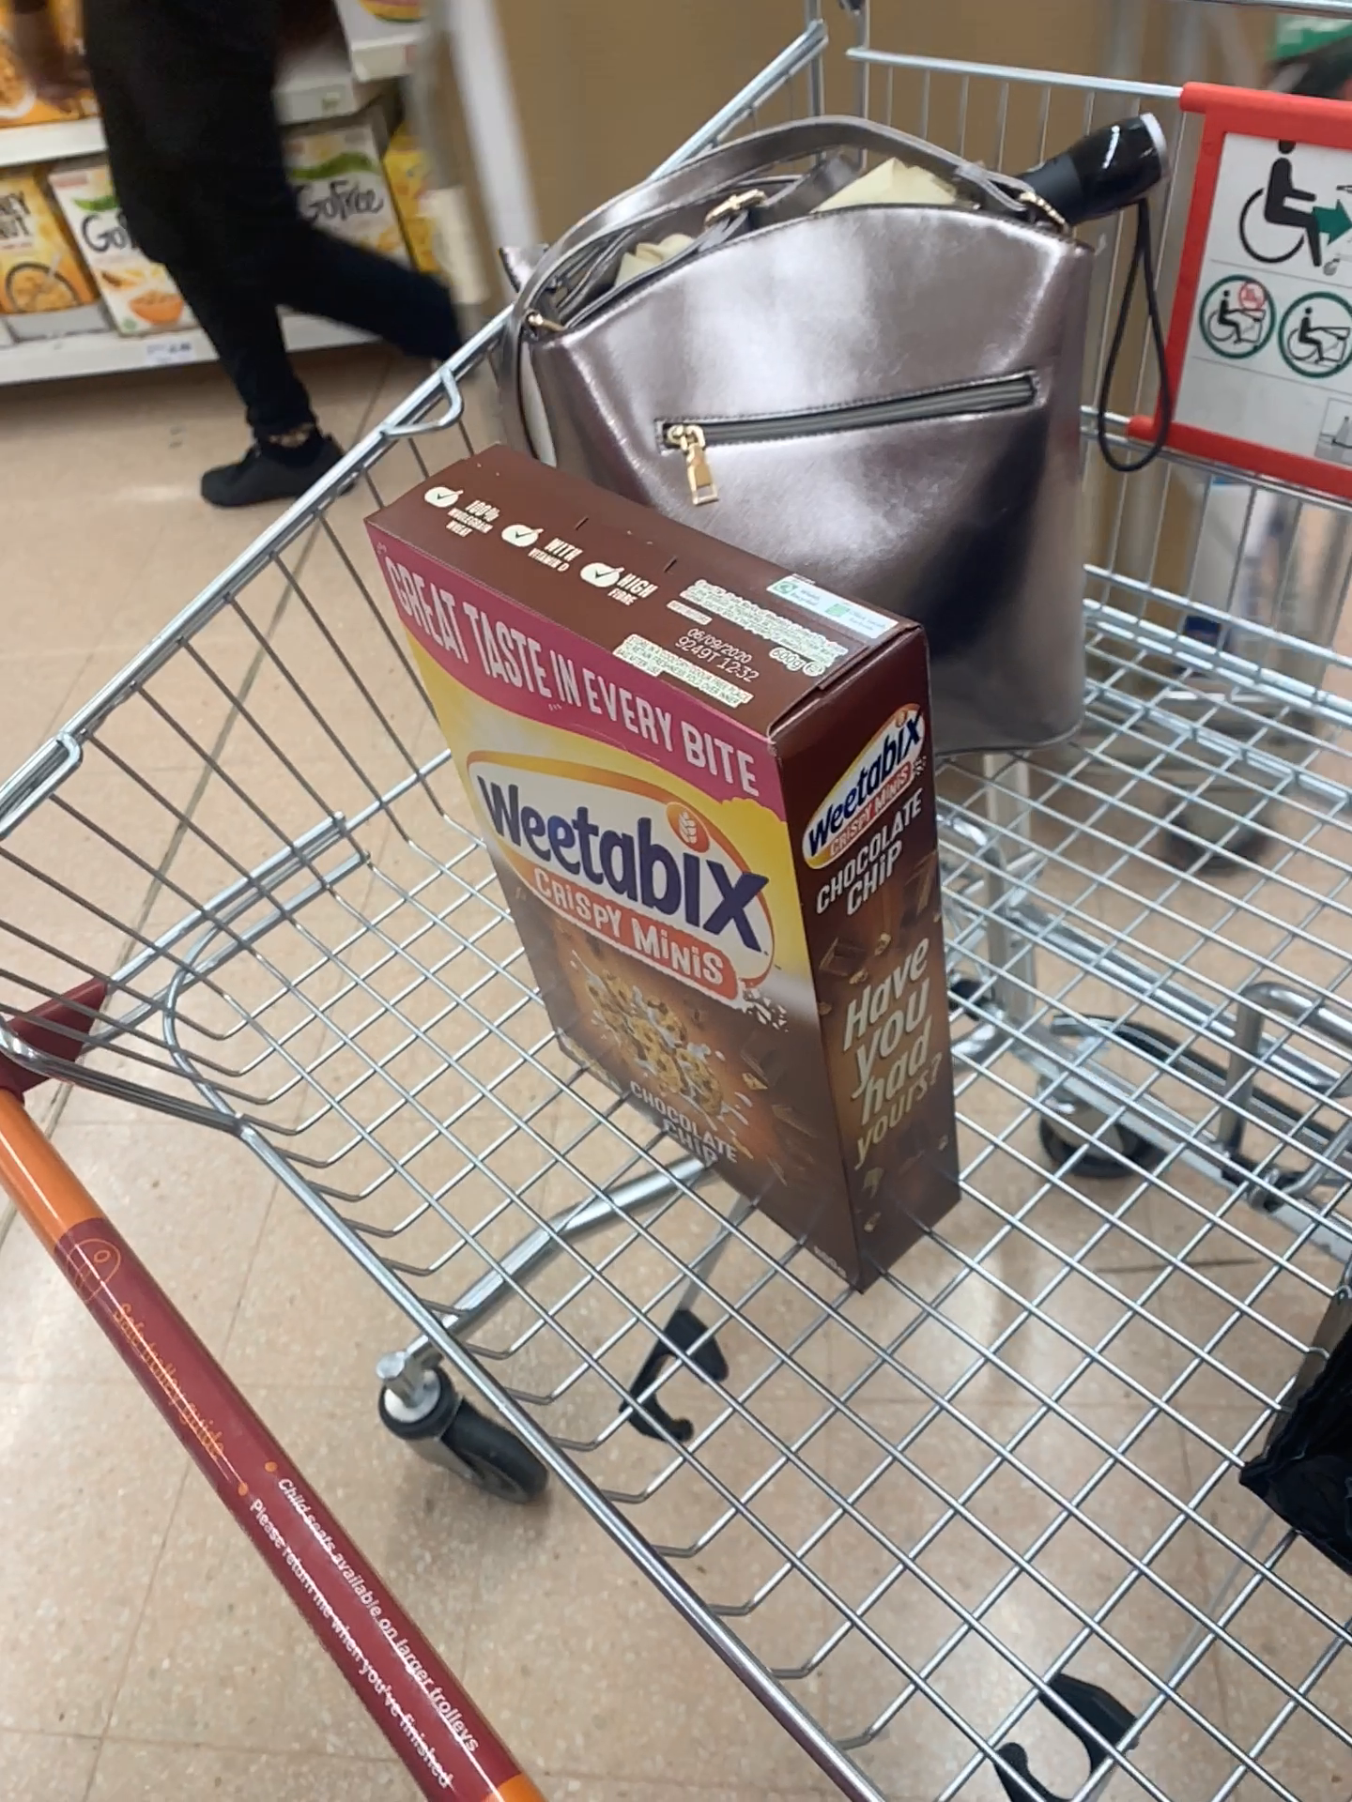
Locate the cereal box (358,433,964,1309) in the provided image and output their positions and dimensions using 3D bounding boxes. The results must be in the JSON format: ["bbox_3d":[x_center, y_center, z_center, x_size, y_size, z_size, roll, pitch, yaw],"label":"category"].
[{"bbox_3d":[0.007,0.000,0.494,0.060,0.278,0.191,-39,52,-24],"label":"cereal box"}]
